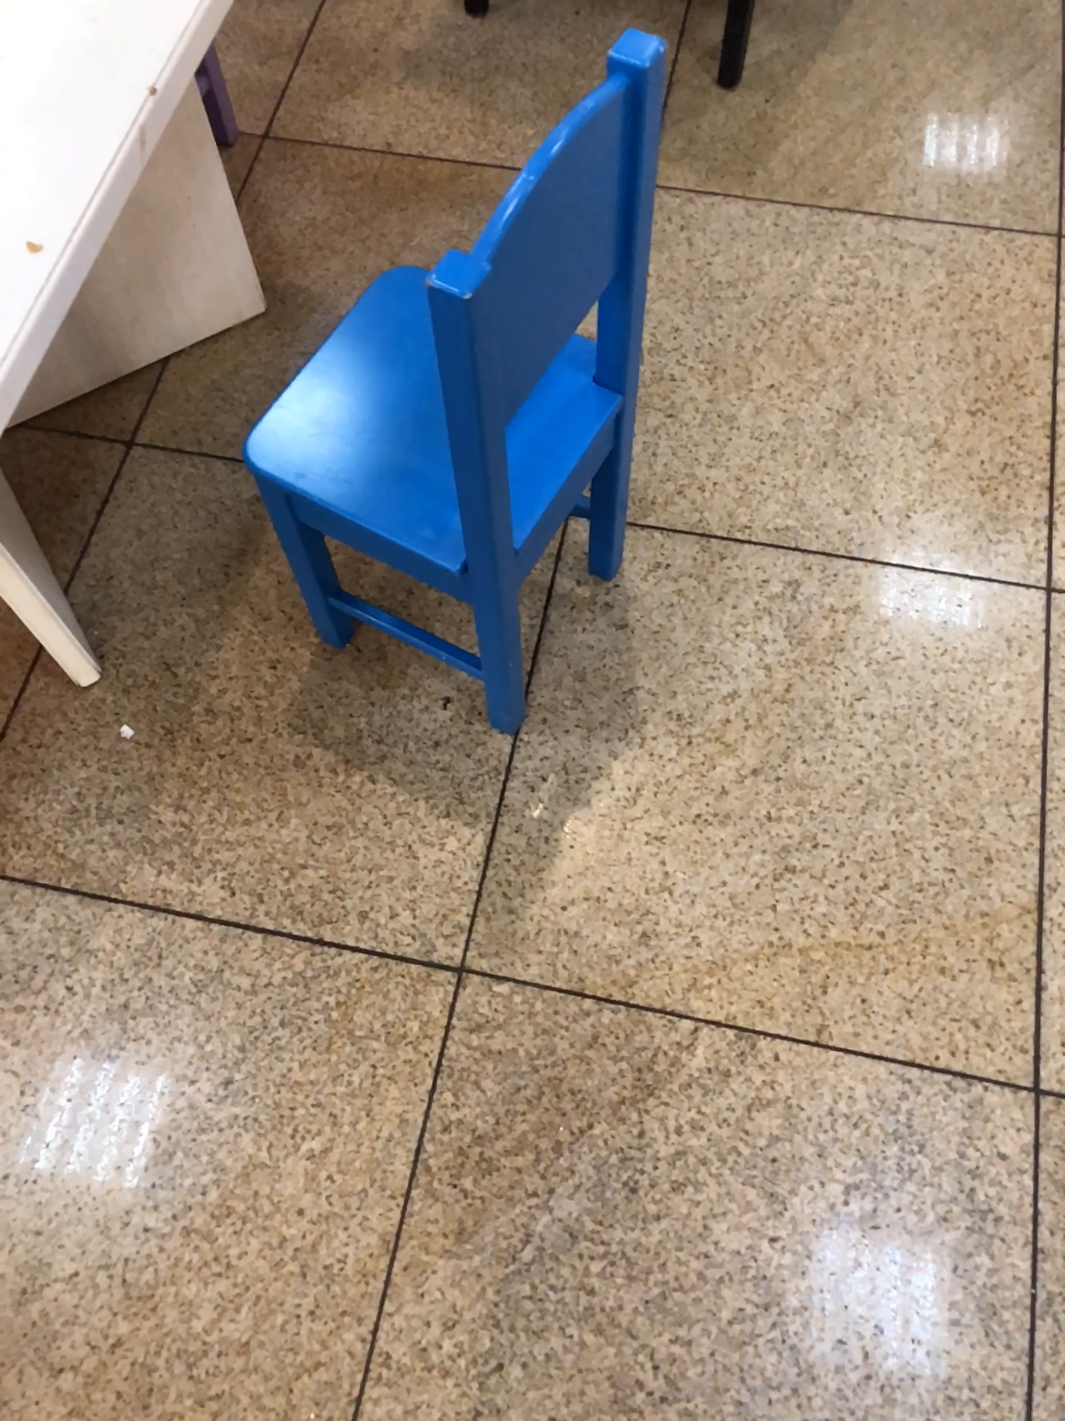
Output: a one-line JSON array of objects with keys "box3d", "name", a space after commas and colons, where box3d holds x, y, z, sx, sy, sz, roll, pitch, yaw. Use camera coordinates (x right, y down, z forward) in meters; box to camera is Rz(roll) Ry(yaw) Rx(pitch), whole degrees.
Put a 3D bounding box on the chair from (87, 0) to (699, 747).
[{"box3d": [-0.082, -0.282, 1.073, 0.300, 0.639, 0.300, 26, 68, 13], "name": "chair"}]
